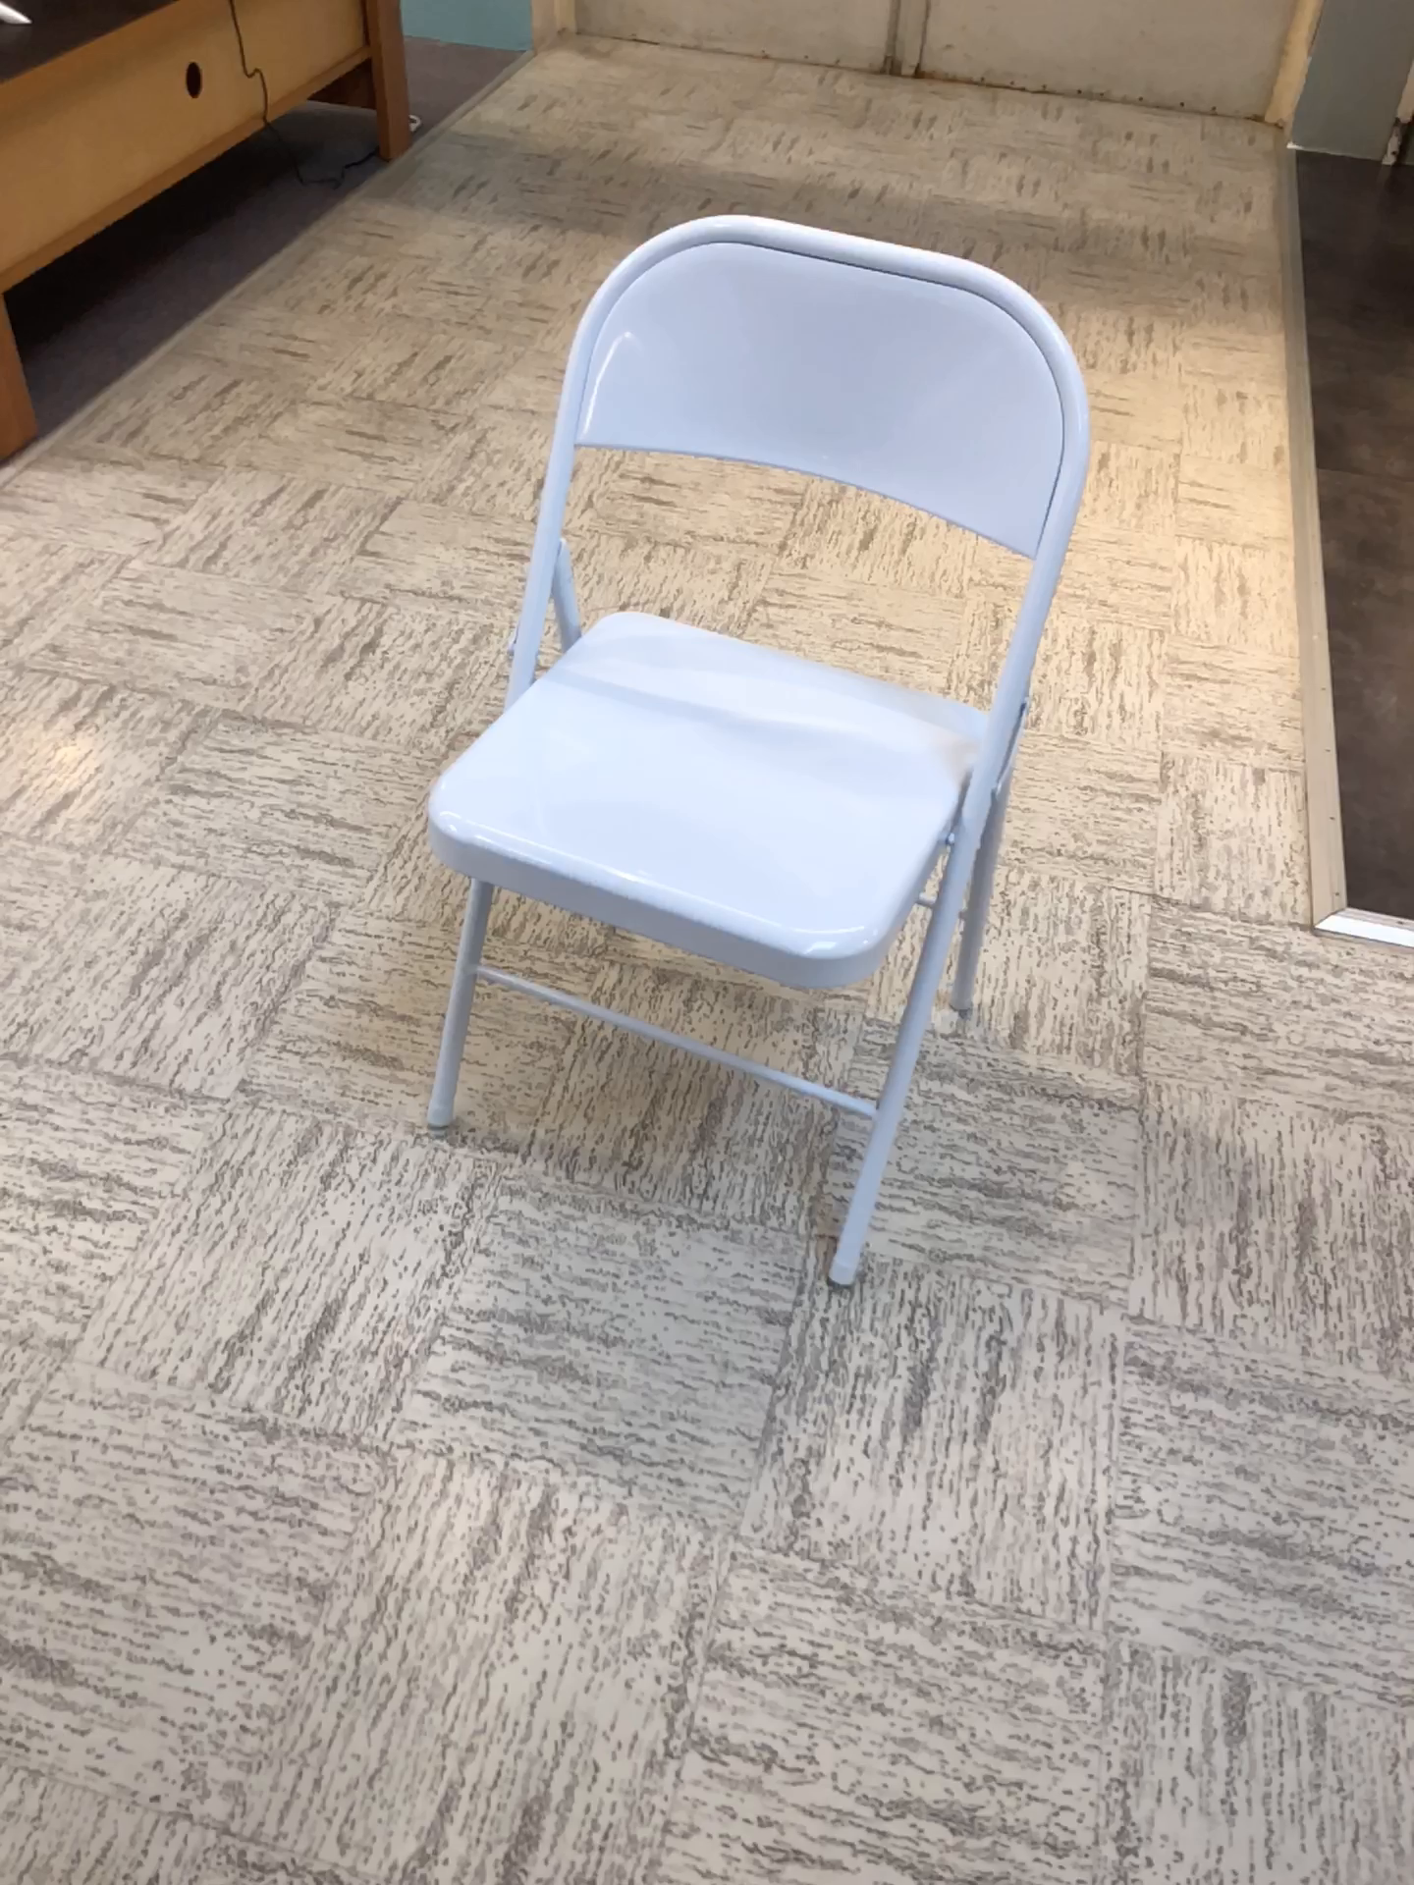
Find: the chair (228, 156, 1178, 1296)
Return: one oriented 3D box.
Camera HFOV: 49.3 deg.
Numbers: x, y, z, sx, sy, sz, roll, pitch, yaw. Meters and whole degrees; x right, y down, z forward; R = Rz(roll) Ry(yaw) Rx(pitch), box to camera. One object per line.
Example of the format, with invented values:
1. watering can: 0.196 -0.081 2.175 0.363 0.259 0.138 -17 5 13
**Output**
1. chair: 0.010 -0.179 1.312 0.510 0.706 0.483 19 46 15
